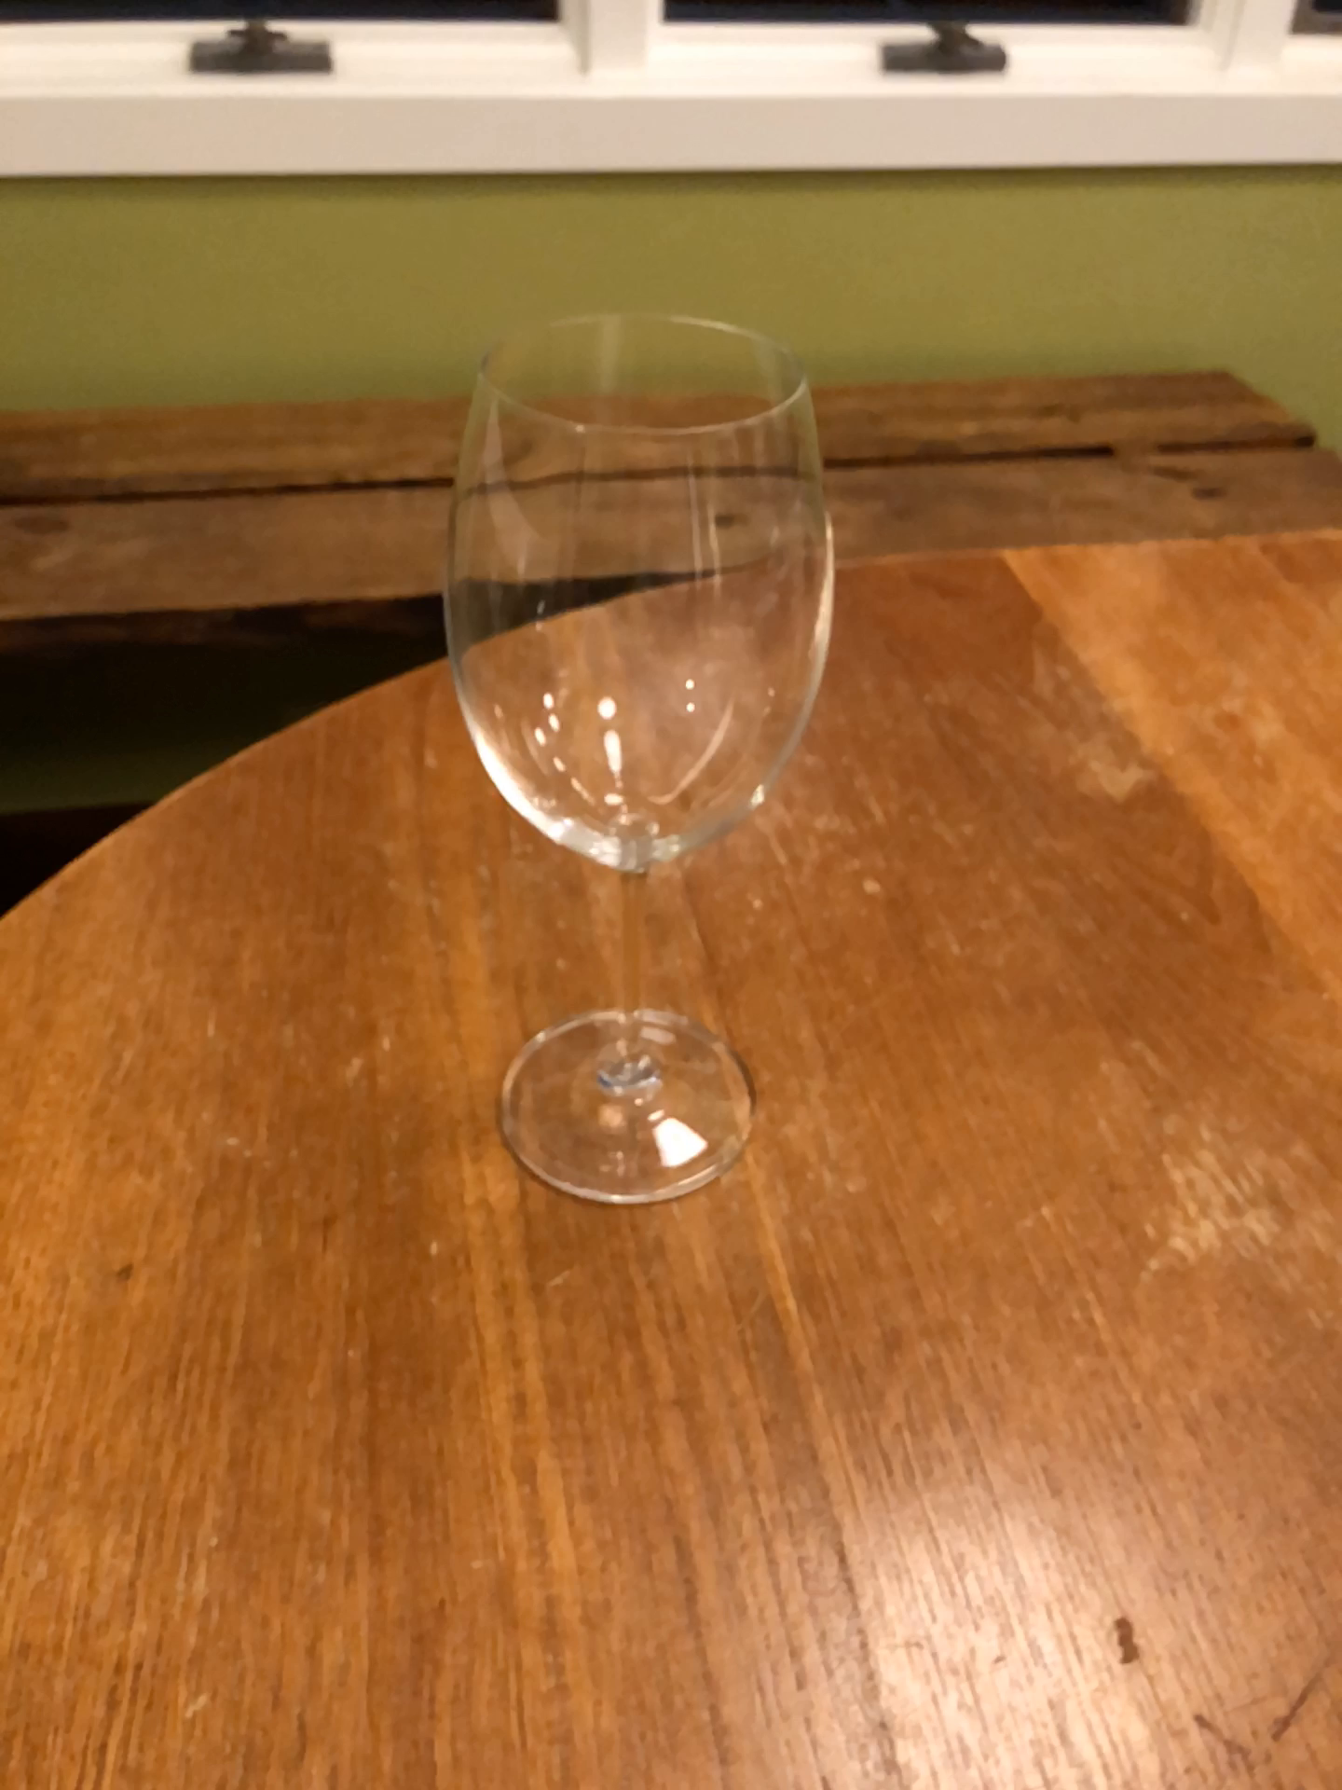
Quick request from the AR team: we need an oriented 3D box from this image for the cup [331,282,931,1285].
[{"bbox_3d":[-0.009,-0.023,0.411,0.100,0.240,0.098,1,39,-1],"label":"cup"}]
